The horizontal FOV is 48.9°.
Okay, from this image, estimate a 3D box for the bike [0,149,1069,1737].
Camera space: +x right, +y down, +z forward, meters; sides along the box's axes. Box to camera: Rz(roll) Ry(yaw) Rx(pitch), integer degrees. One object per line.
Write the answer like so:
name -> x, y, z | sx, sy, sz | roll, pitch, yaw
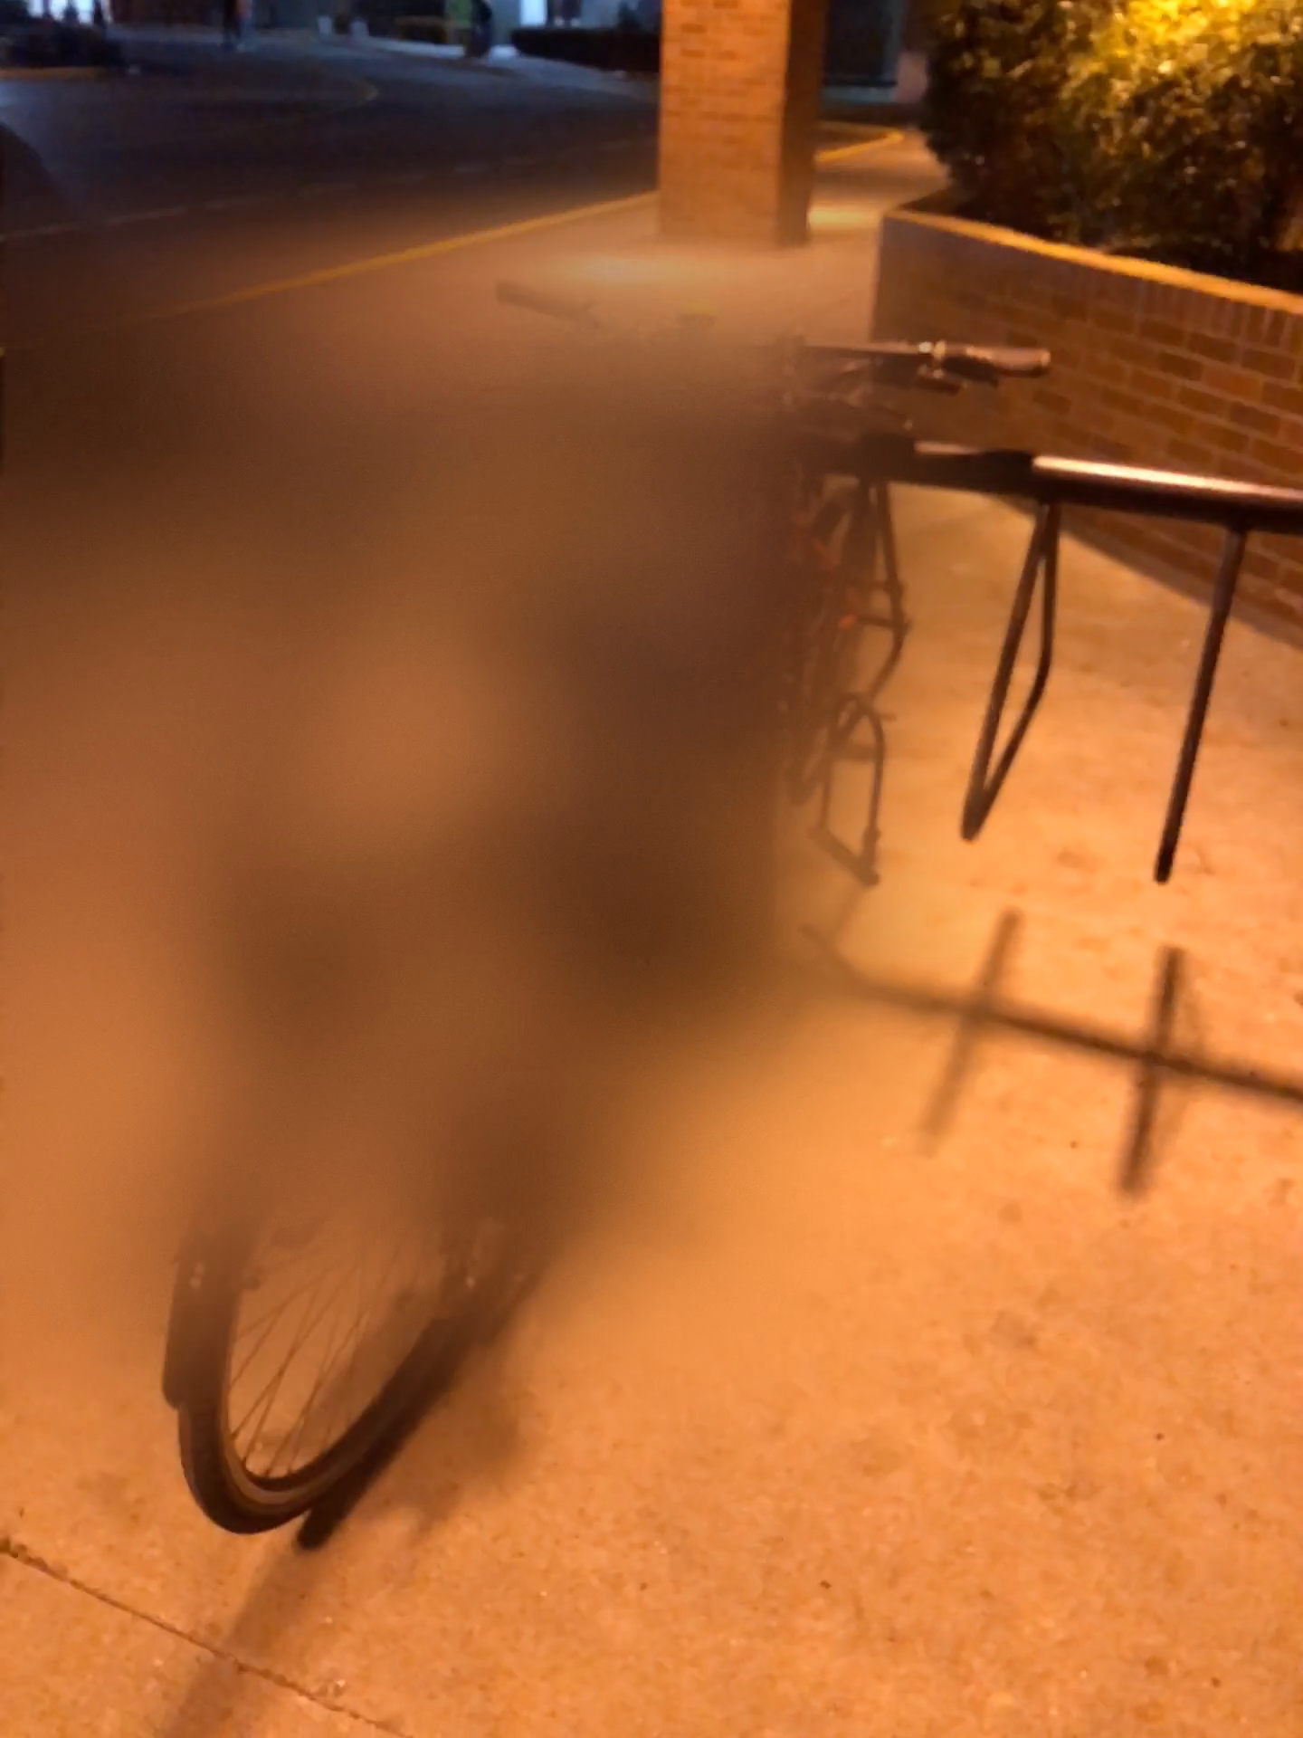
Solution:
bike -> -0.028, -0.174, 1.616 | 0.638, 0.864, 1.651 | 12, 36, 16
